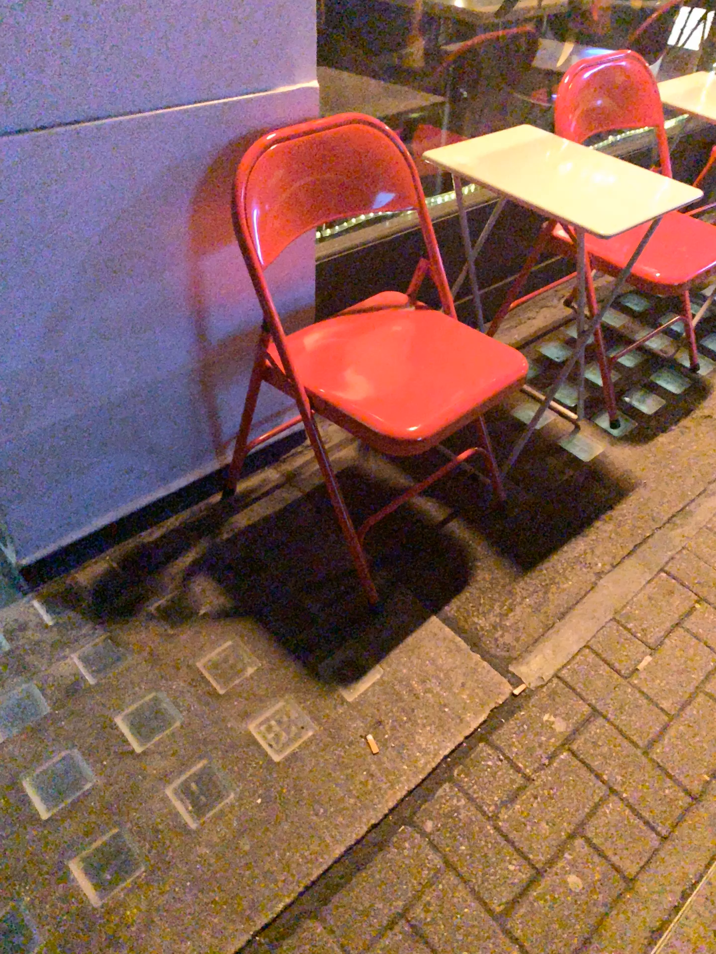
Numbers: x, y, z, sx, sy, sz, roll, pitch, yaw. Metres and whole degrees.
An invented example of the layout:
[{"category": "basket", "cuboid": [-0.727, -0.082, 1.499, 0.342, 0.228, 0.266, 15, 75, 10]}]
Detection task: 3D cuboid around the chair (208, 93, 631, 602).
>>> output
[{"category": "chair", "cuboid": [0.080, -0.270, 1.455, 0.472, 0.743, 0.533, -31, 52, -34]}]
